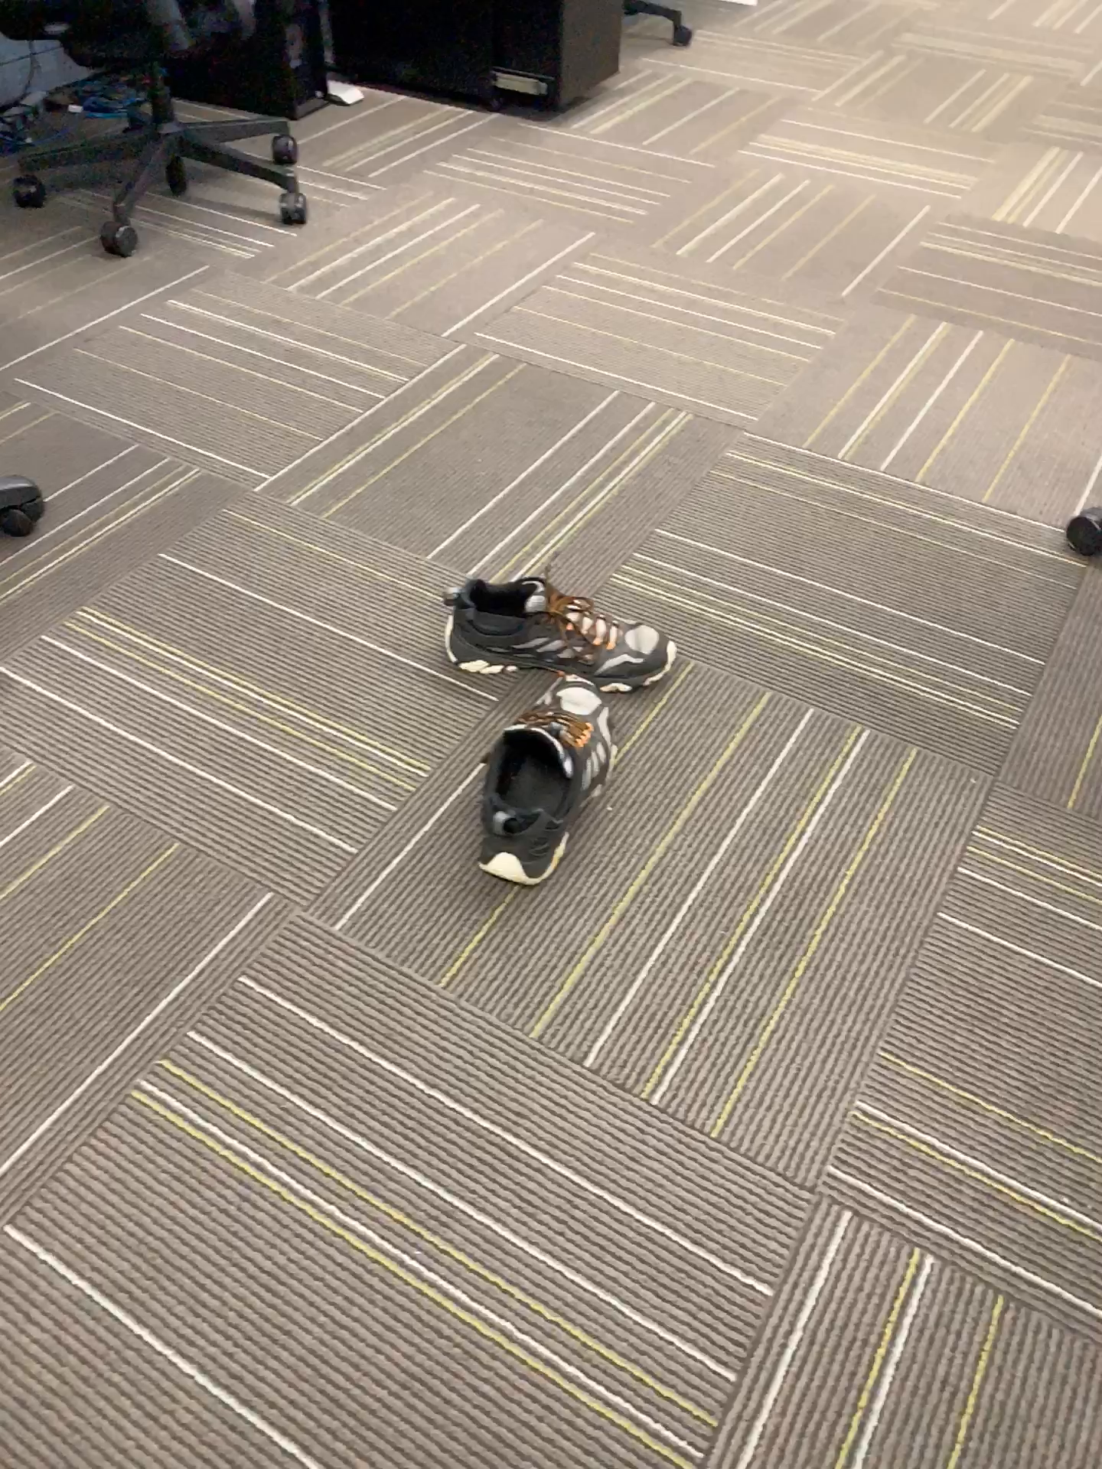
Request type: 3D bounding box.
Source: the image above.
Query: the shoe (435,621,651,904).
[{"bbox_3d":[-0.001,0.021,1.260,0.140,0.099,0.311,14,47,12],"label":"shoe"}]

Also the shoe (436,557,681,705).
[{"bbox_3d":[0.013,-0.144,1.540,0.310,0.099,0.141,7,46,6],"label":"shoe"}]
